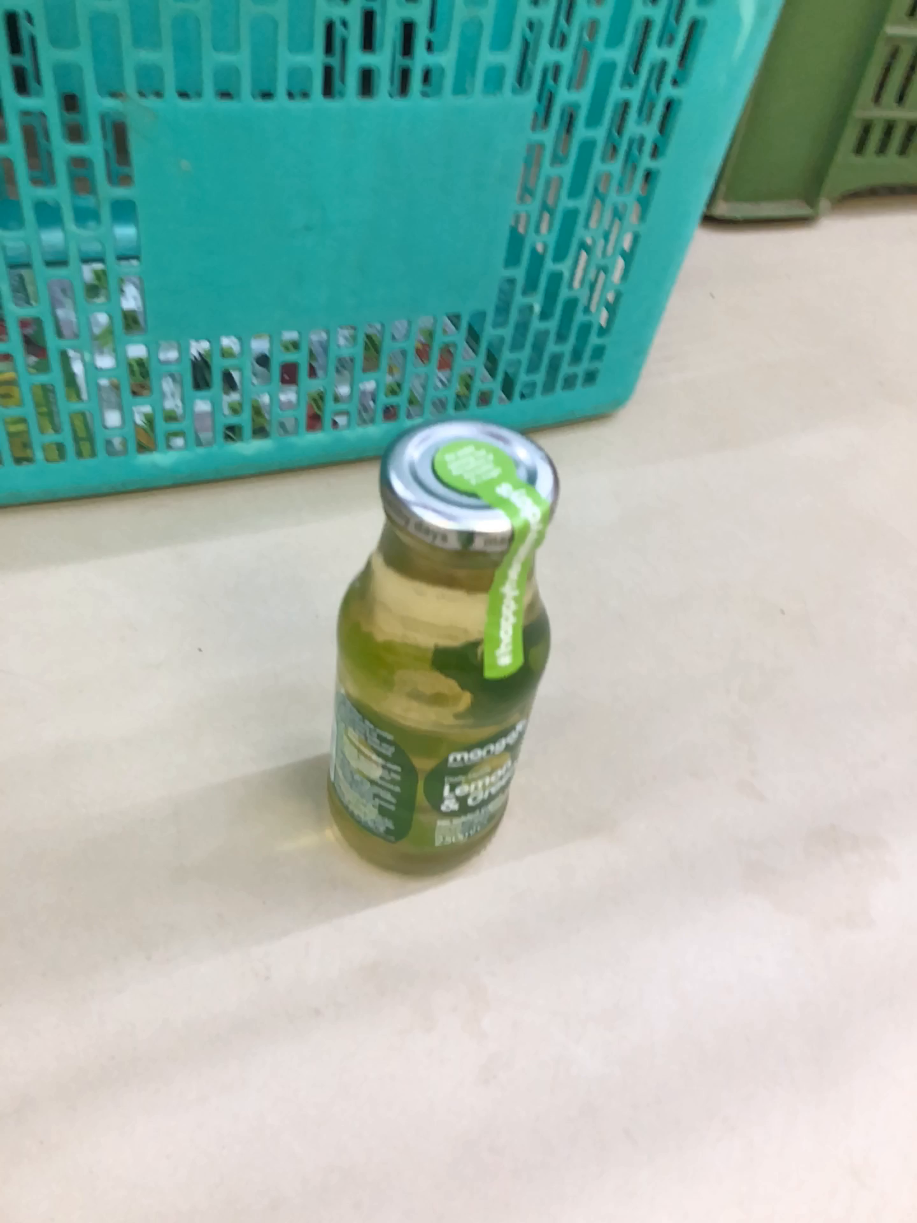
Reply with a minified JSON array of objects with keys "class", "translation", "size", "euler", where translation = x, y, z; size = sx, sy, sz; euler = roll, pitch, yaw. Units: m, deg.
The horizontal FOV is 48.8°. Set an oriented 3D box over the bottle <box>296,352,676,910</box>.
[{"class":"bottle","translation":[-0.002,0.011,0.308],"size":[0.070,0.149,0.070],"euler":[5,45,-5]}]
